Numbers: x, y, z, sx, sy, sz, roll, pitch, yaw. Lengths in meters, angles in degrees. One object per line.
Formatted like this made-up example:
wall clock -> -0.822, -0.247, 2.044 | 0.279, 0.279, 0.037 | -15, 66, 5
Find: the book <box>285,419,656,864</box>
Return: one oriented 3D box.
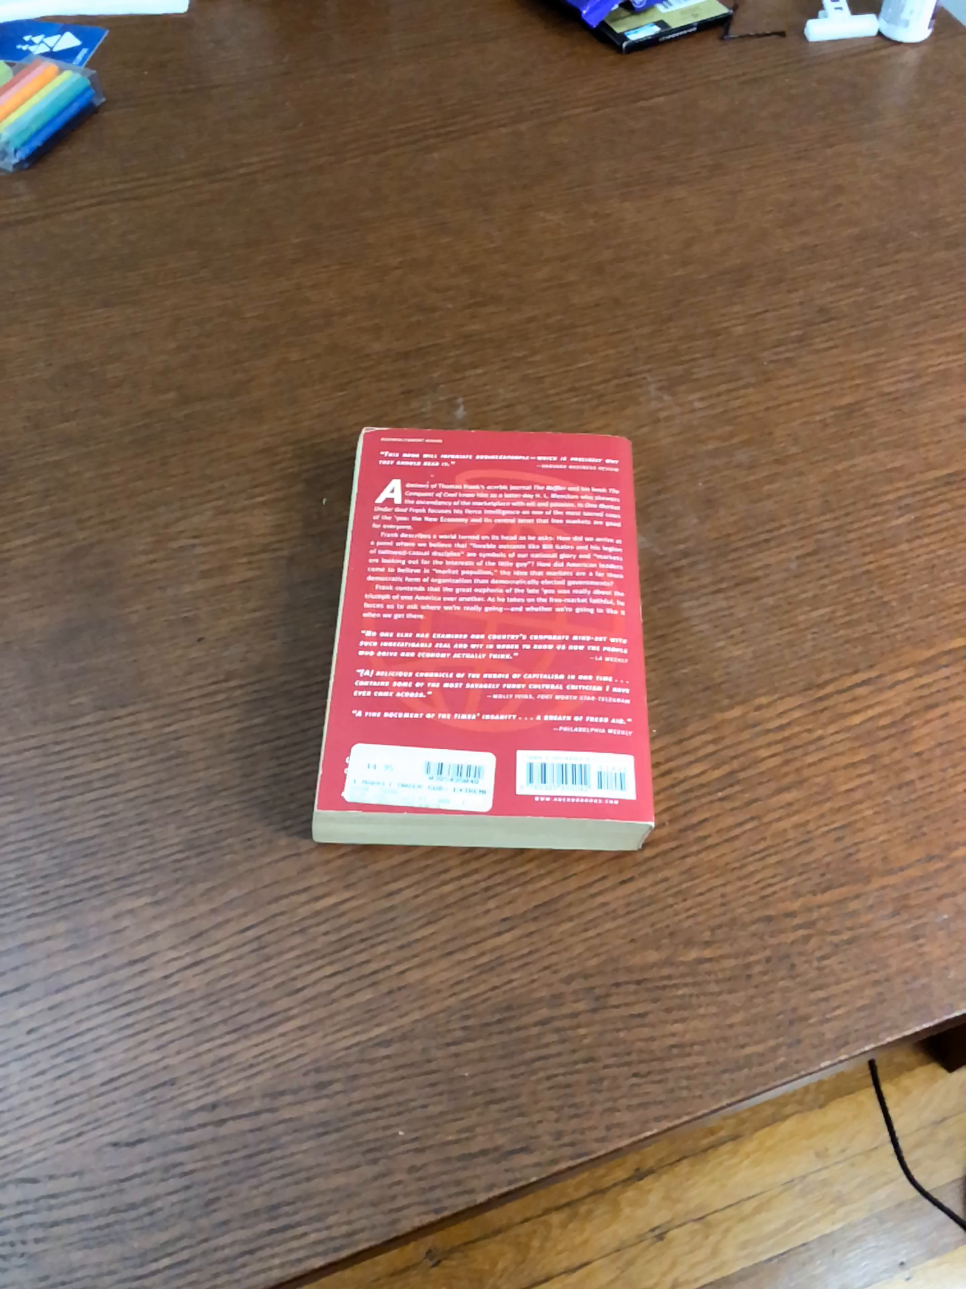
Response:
book -> -0.002, -0.011, 0.471 | 0.140, 0.030, 0.211 | 2, 57, 1
